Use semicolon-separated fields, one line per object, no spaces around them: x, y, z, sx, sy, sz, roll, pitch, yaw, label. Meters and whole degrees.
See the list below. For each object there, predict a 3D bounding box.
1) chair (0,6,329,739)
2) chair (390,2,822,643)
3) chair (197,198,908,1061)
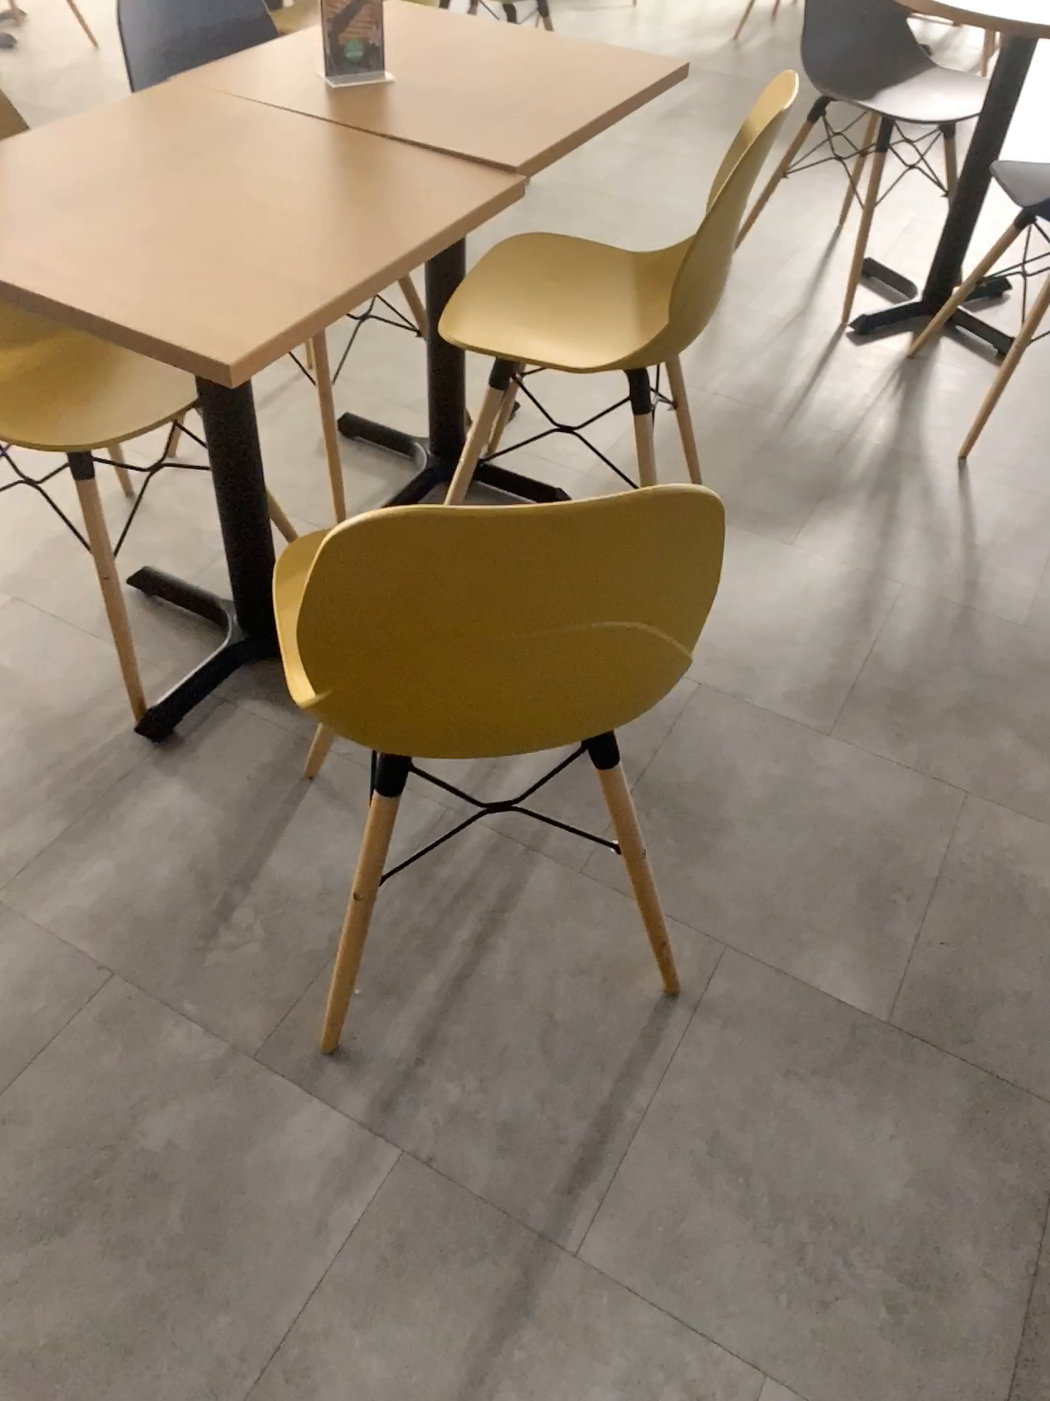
-0.664;-0.456;1.538;0.492;0.776;0.501;21;48;17;chair
0.120;-0.593;1.732;0.492;0.776;0.501;13;46;9;chair
-0.033;-0.054;1.206;0.517;0.786;0.496;-7;46;-10;chair
